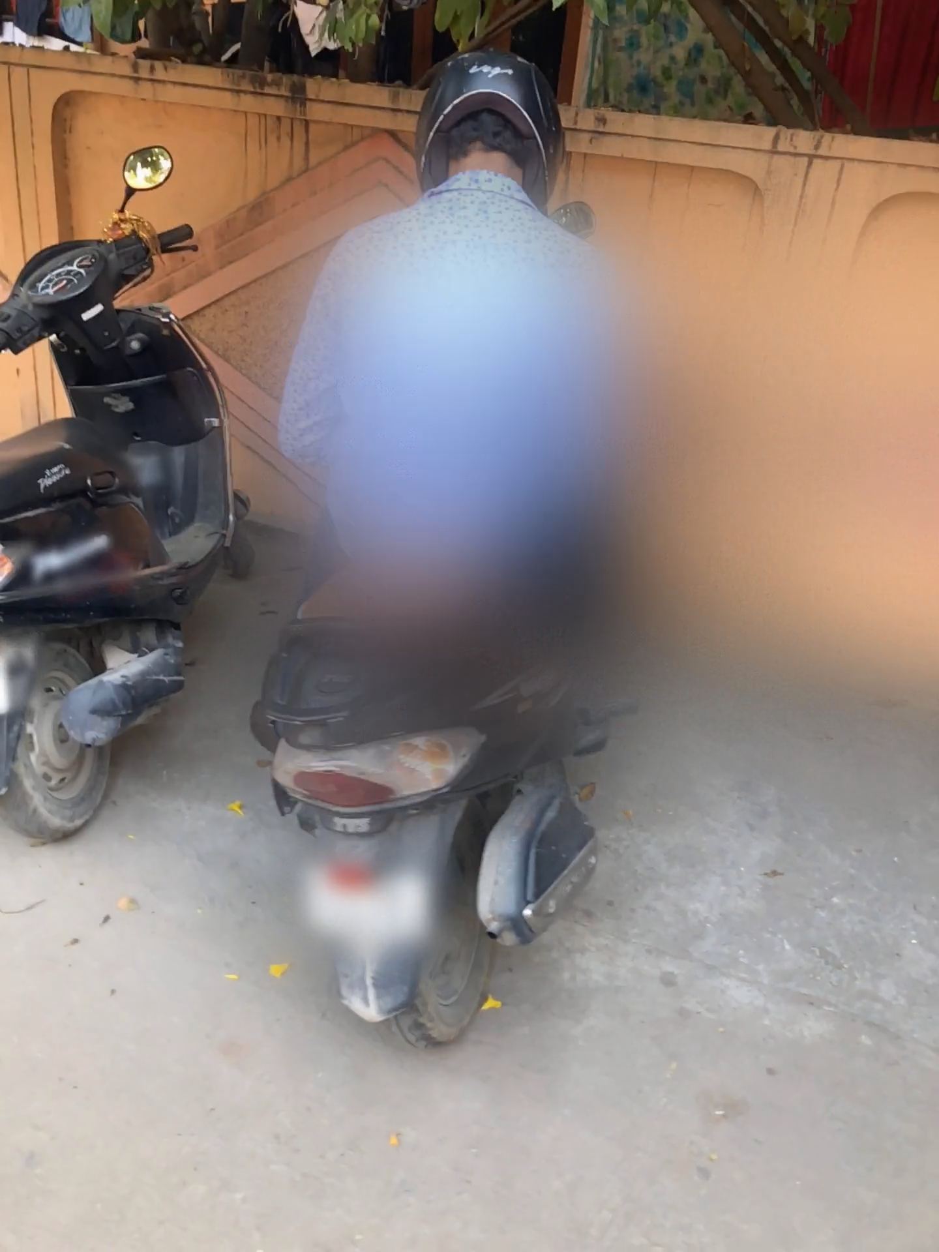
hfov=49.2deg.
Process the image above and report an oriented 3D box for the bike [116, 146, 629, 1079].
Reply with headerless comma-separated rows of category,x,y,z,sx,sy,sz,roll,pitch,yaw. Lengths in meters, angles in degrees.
bike,-0.125,-0.187,1.985,0.628,1.037,1.327,7,32,2
